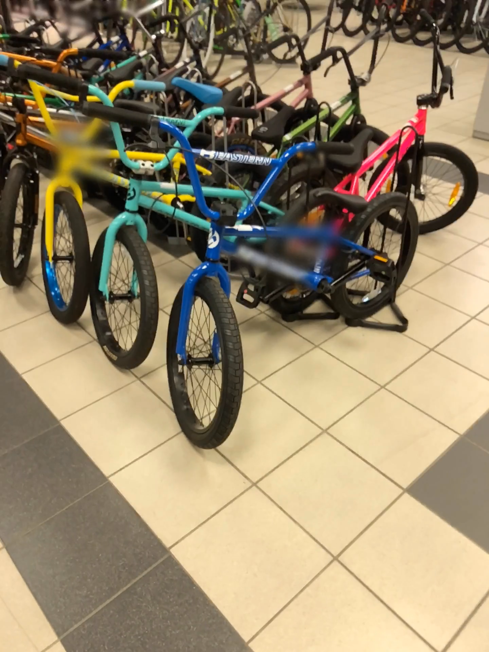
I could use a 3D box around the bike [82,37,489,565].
[{"bbox_3d":[0.293,-0.265,1.693,0.823,0.960,1.262,26,42,31],"label":"bike"}]
